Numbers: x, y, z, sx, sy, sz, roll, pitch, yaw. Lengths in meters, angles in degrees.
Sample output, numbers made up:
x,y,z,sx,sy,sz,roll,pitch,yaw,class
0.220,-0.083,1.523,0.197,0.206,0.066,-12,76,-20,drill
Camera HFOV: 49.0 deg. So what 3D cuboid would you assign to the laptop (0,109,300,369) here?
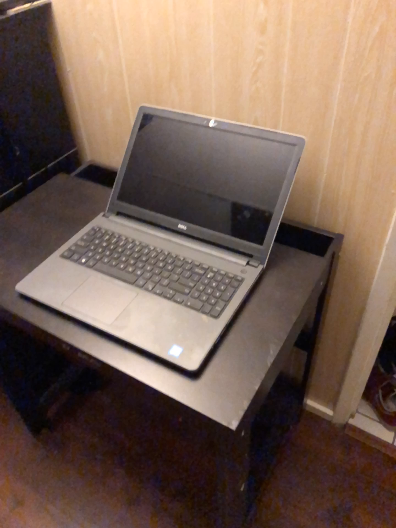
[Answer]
x,y,z,sx,sy,sz,roll,pitch,yaw,class
-0.075,-0.091,0.787,0.368,0.172,0.428,19,46,23,laptop
